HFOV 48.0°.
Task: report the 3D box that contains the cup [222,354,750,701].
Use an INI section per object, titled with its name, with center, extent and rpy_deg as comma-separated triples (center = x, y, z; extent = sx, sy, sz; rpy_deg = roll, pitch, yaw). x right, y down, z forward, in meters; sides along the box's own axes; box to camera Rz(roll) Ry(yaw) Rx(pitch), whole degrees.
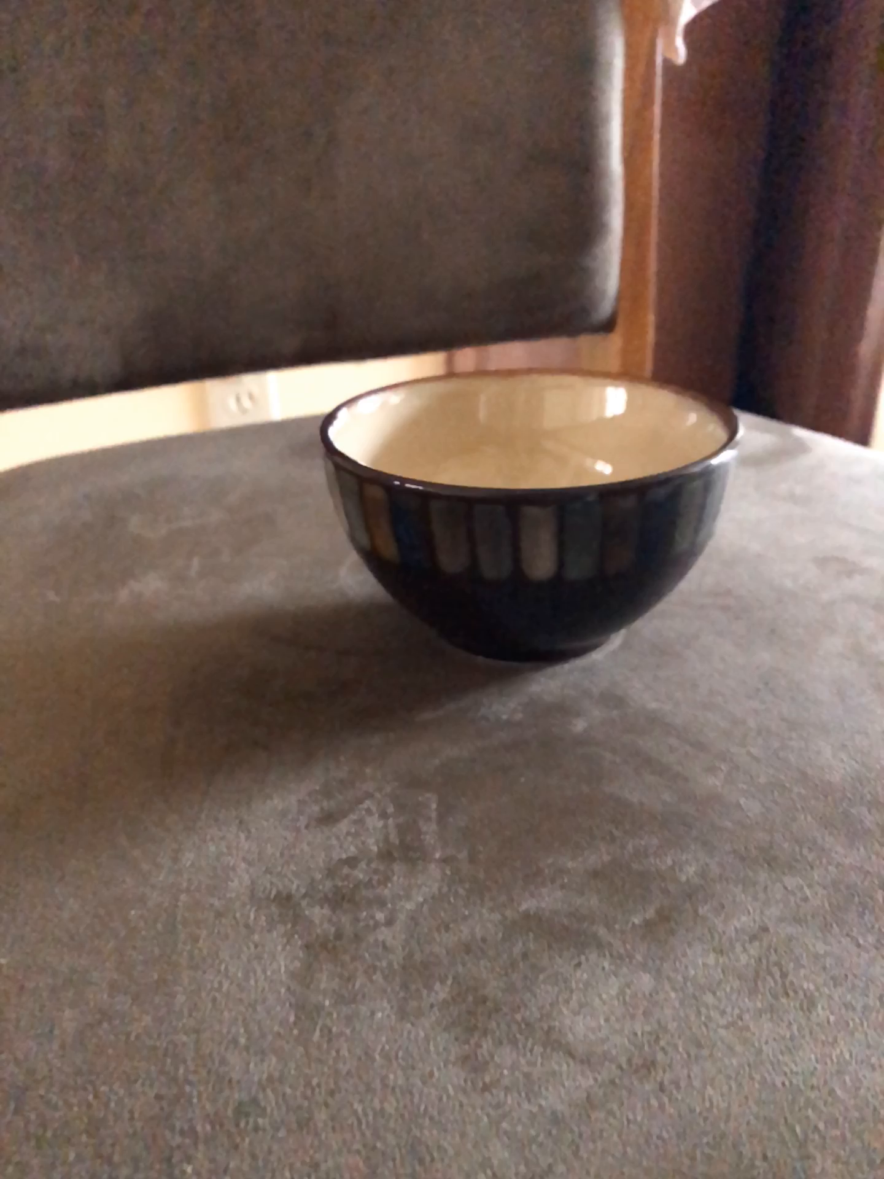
[cup]
center = 0.019, -0.025, 0.268
extent = 0.114, 0.044, 0.109
rpy_deg = 0, 27, 0
